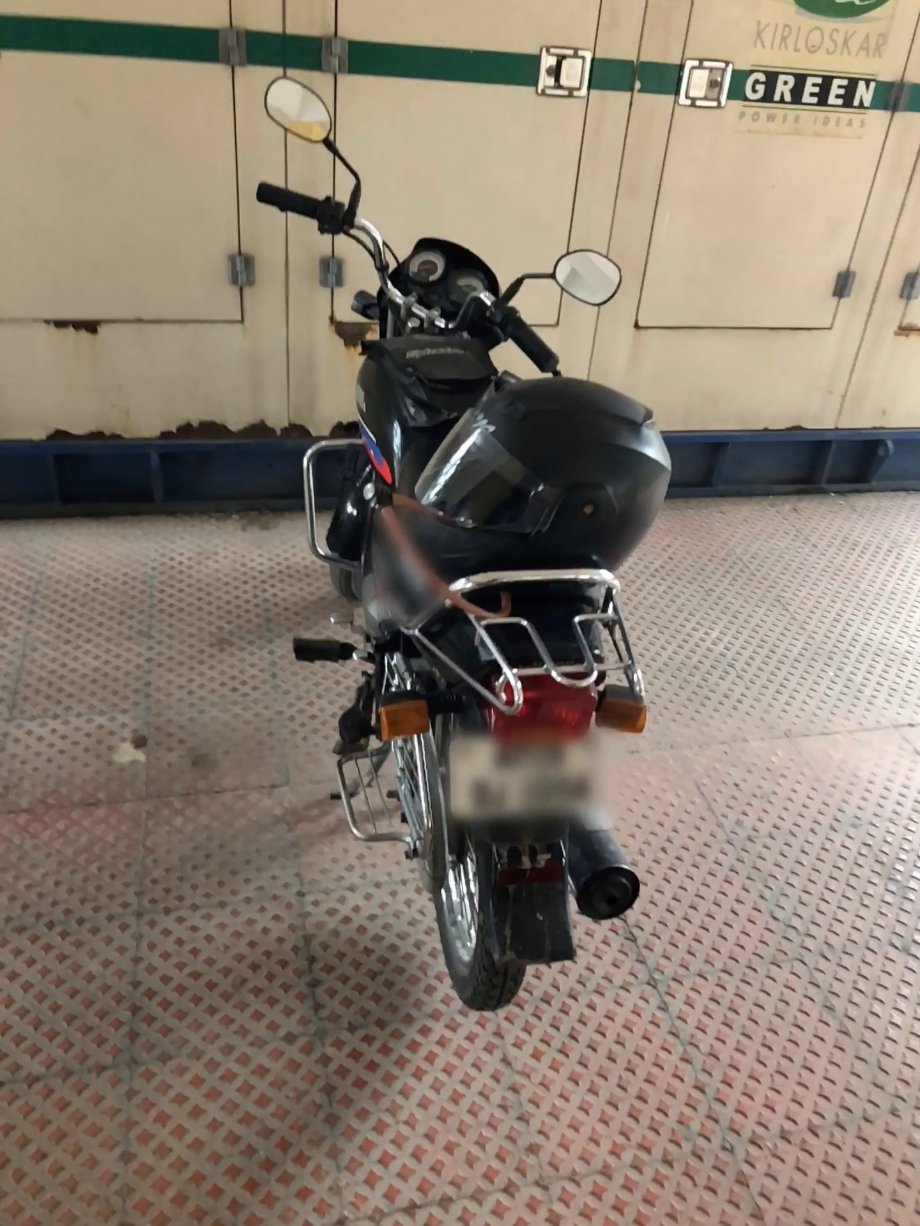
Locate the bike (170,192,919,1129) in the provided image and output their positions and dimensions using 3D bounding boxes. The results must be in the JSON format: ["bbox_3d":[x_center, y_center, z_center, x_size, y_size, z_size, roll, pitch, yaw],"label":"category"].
[{"bbox_3d":[-0.017,-0.144,2.068,0.735,1.086,1.869,2,30,-6],"label":"bike"}]
